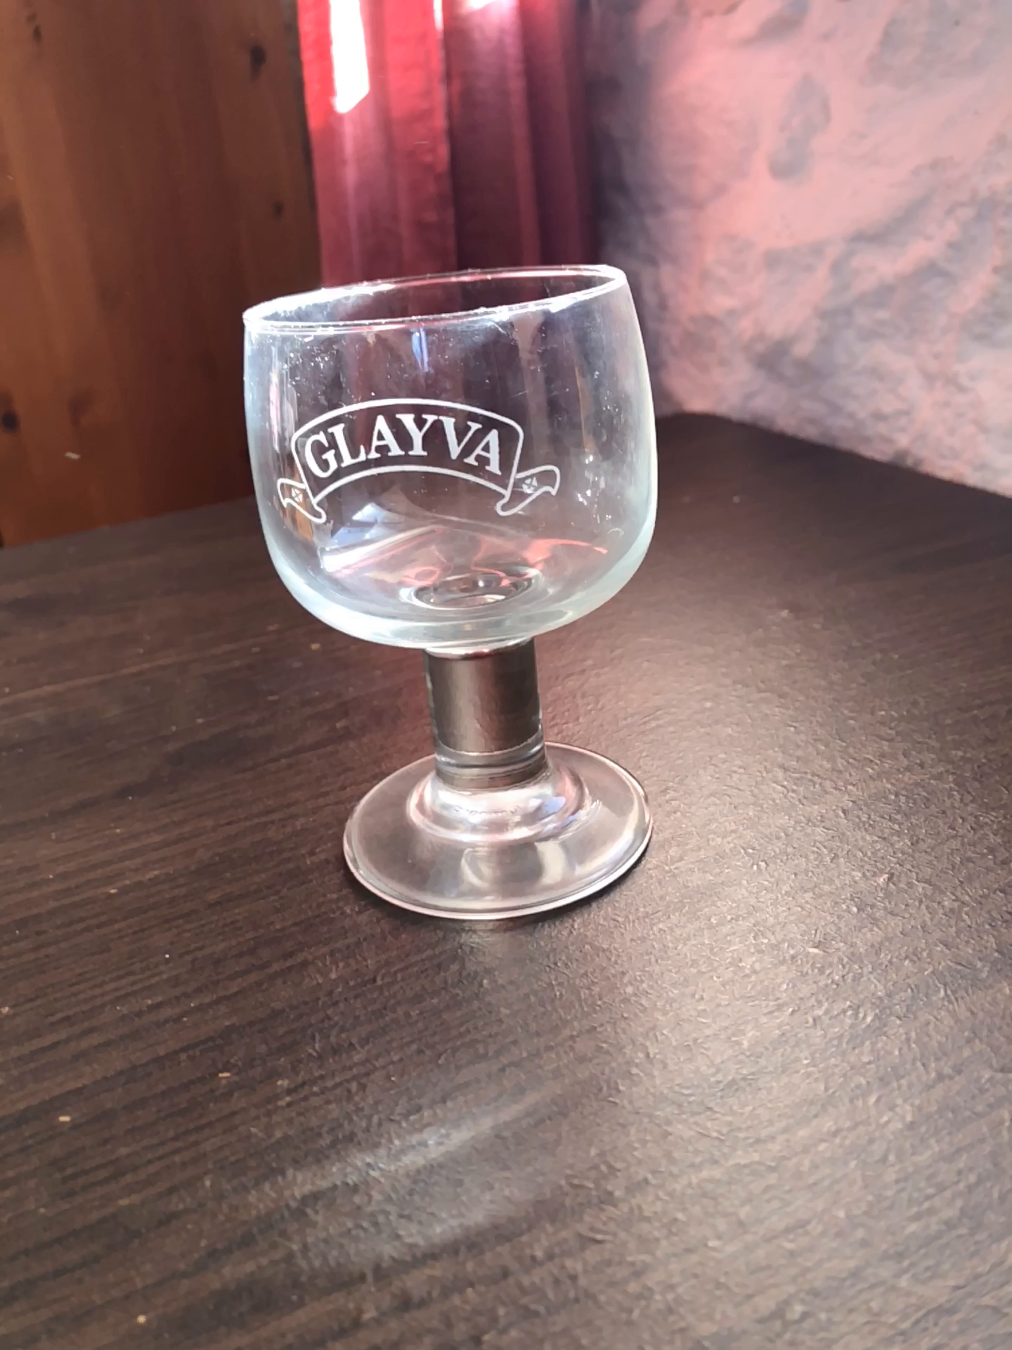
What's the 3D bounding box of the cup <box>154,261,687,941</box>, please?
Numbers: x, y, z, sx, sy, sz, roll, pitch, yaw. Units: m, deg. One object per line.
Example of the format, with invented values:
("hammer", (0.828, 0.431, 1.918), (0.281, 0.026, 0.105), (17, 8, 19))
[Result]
("cup", (-0.005, -0.020, 0.224), (0.077, 0.107, 0.086), (0, 23, 11))
